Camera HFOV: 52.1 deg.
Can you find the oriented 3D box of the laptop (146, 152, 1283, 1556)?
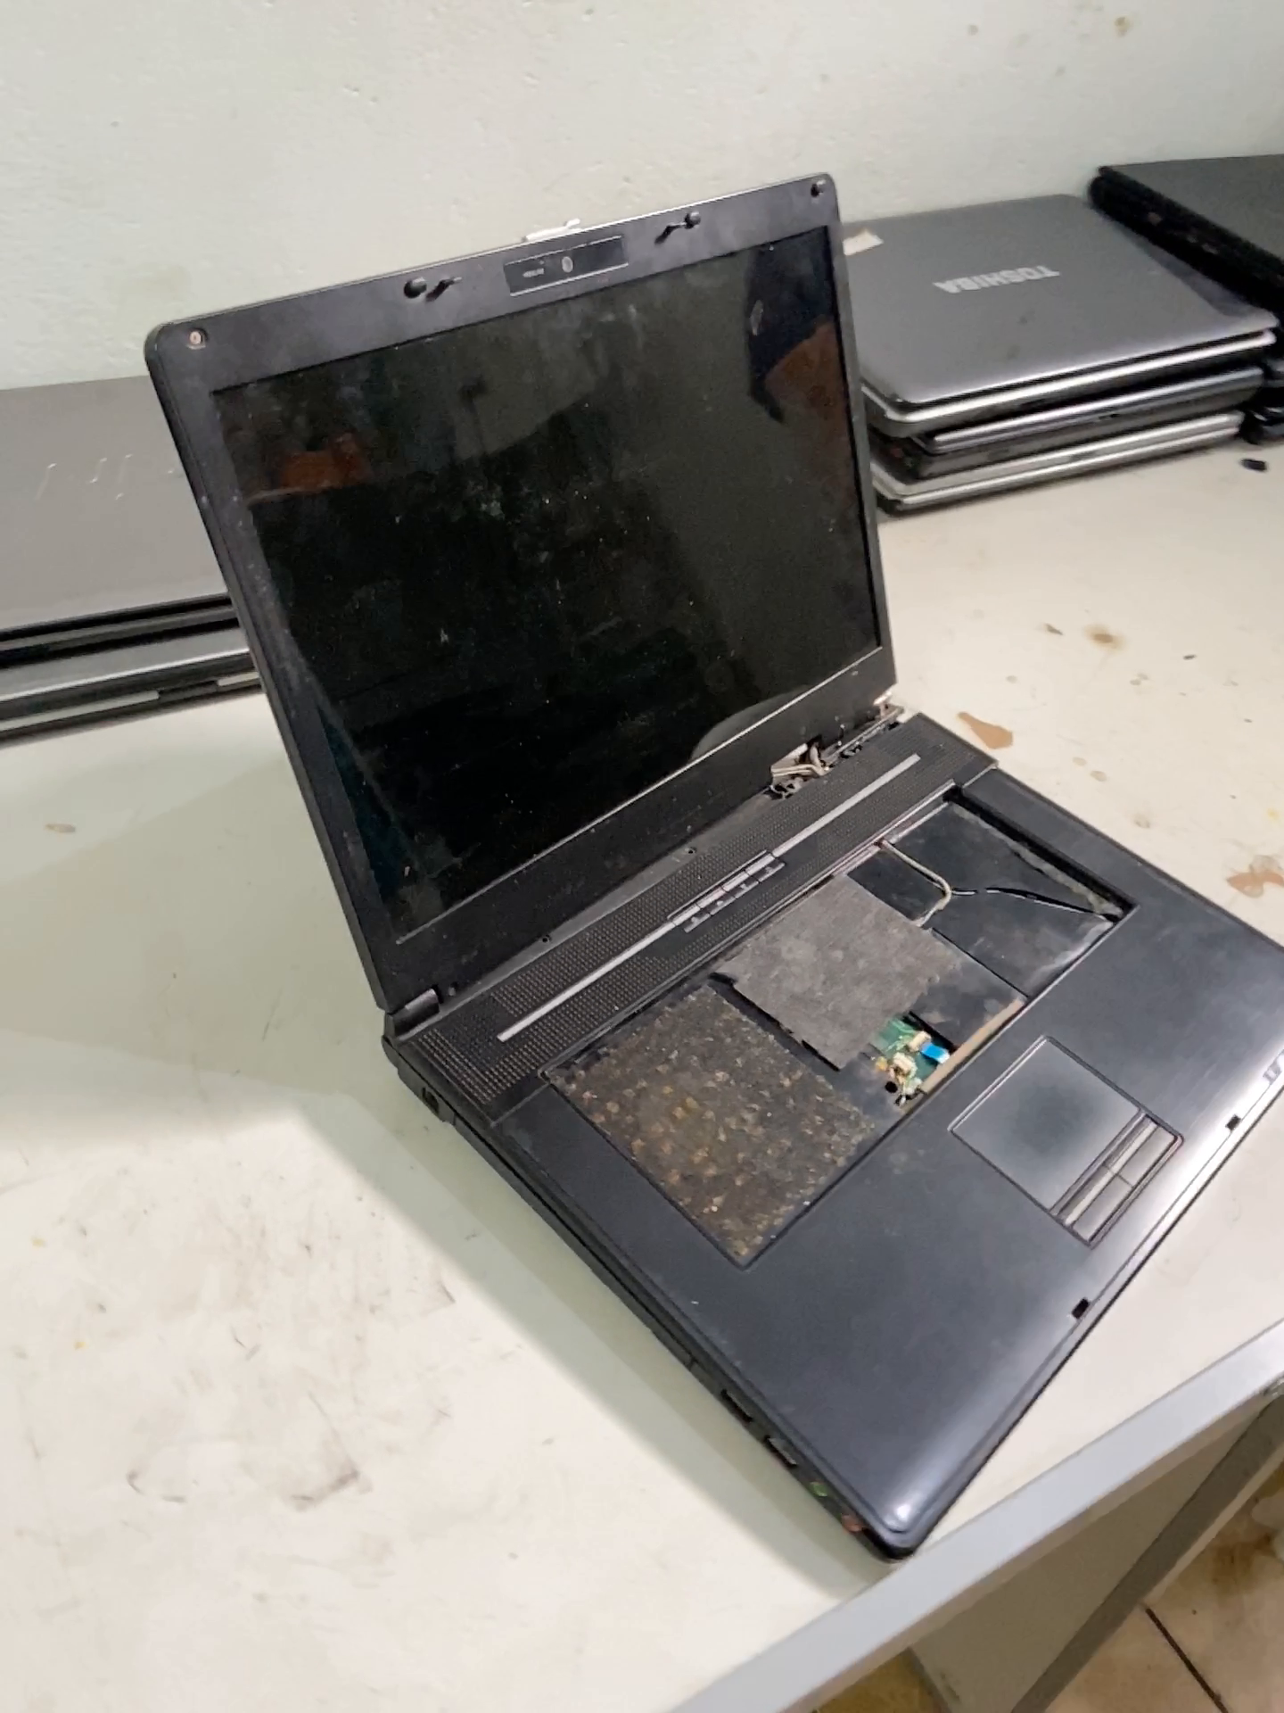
[{"bbox_3d":[0.081,-0.057,0.511,0.346,0.235,0.380,-31,56,-33],"label":"laptop"}]
